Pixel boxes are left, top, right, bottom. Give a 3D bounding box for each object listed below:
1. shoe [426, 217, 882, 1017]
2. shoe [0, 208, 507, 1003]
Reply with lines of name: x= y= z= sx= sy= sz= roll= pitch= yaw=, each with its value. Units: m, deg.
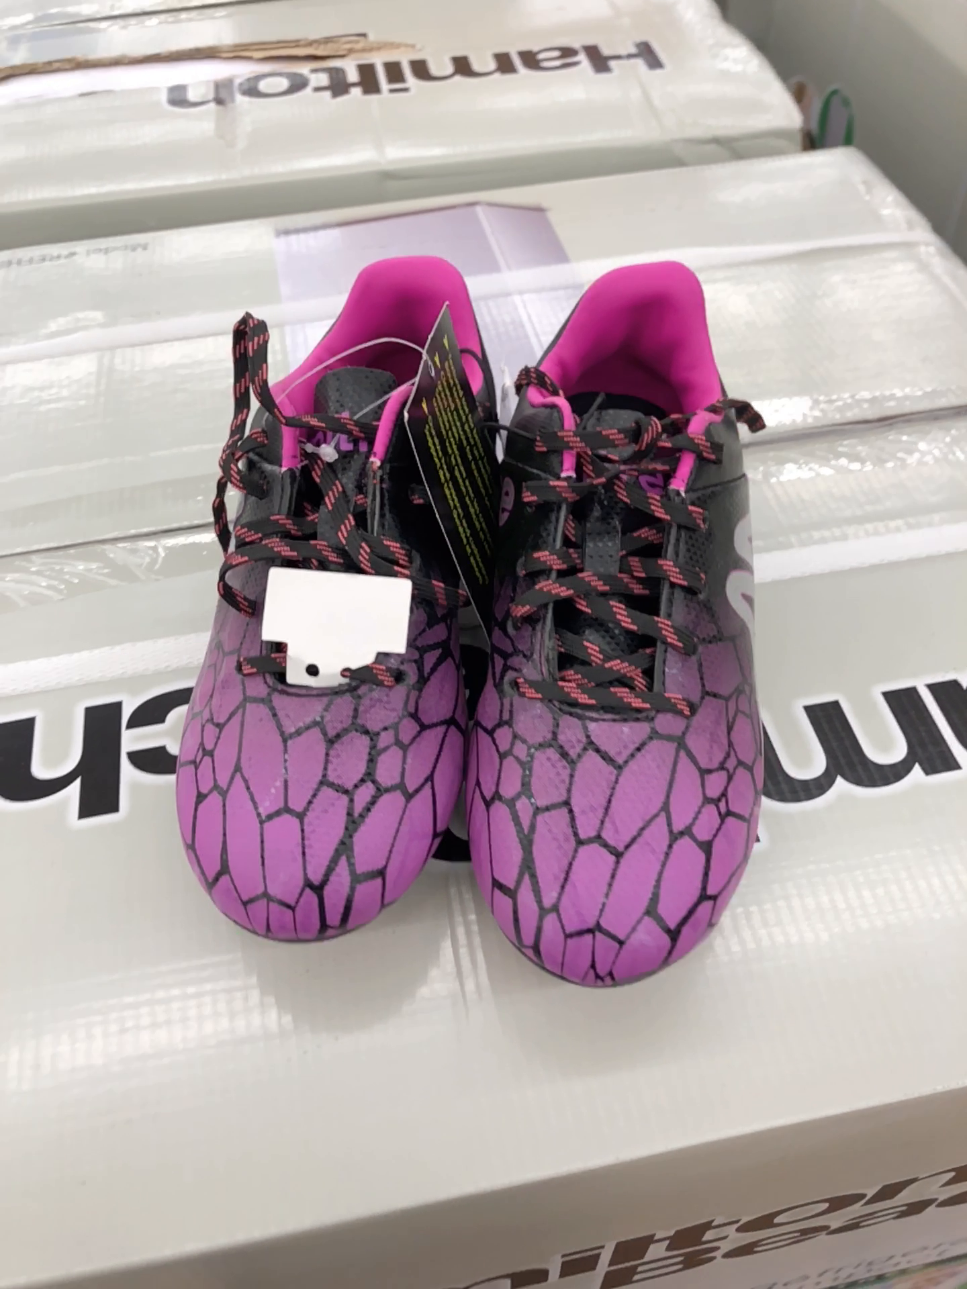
shoe: x=0.041 y=-0.022 z=0.289 sx=0.080 sy=0.080 sz=0.211 roll=3 pitch=50 yaw=5
shoe: x=-0.045 y=-0.025 z=0.291 sx=0.080 sy=0.080 sz=0.211 roll=4 pitch=50 yaw=6
